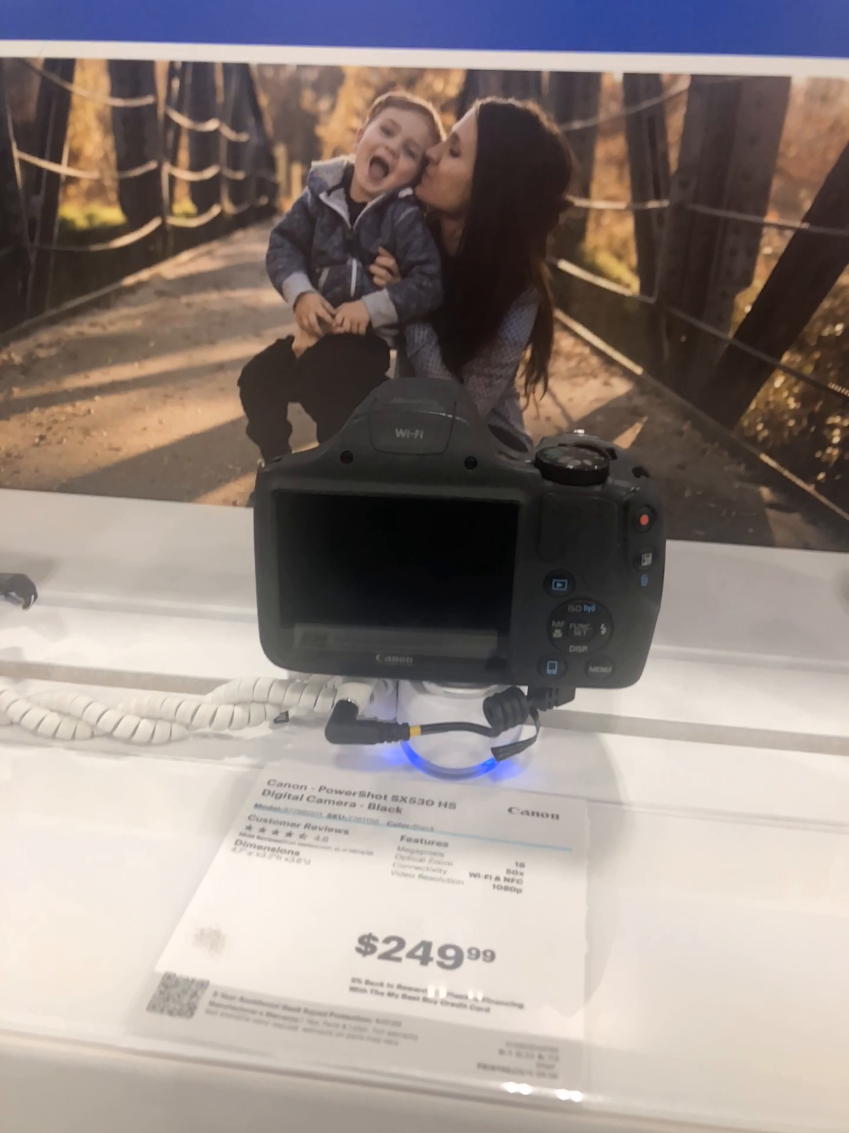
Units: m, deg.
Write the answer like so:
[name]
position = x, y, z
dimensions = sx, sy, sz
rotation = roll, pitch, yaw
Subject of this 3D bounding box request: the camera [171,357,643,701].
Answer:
[camera]
position = -0.003, -0.019, 0.302
dimensions = 0.120, 0.070, 0.110
rotation = 3, 23, 2
